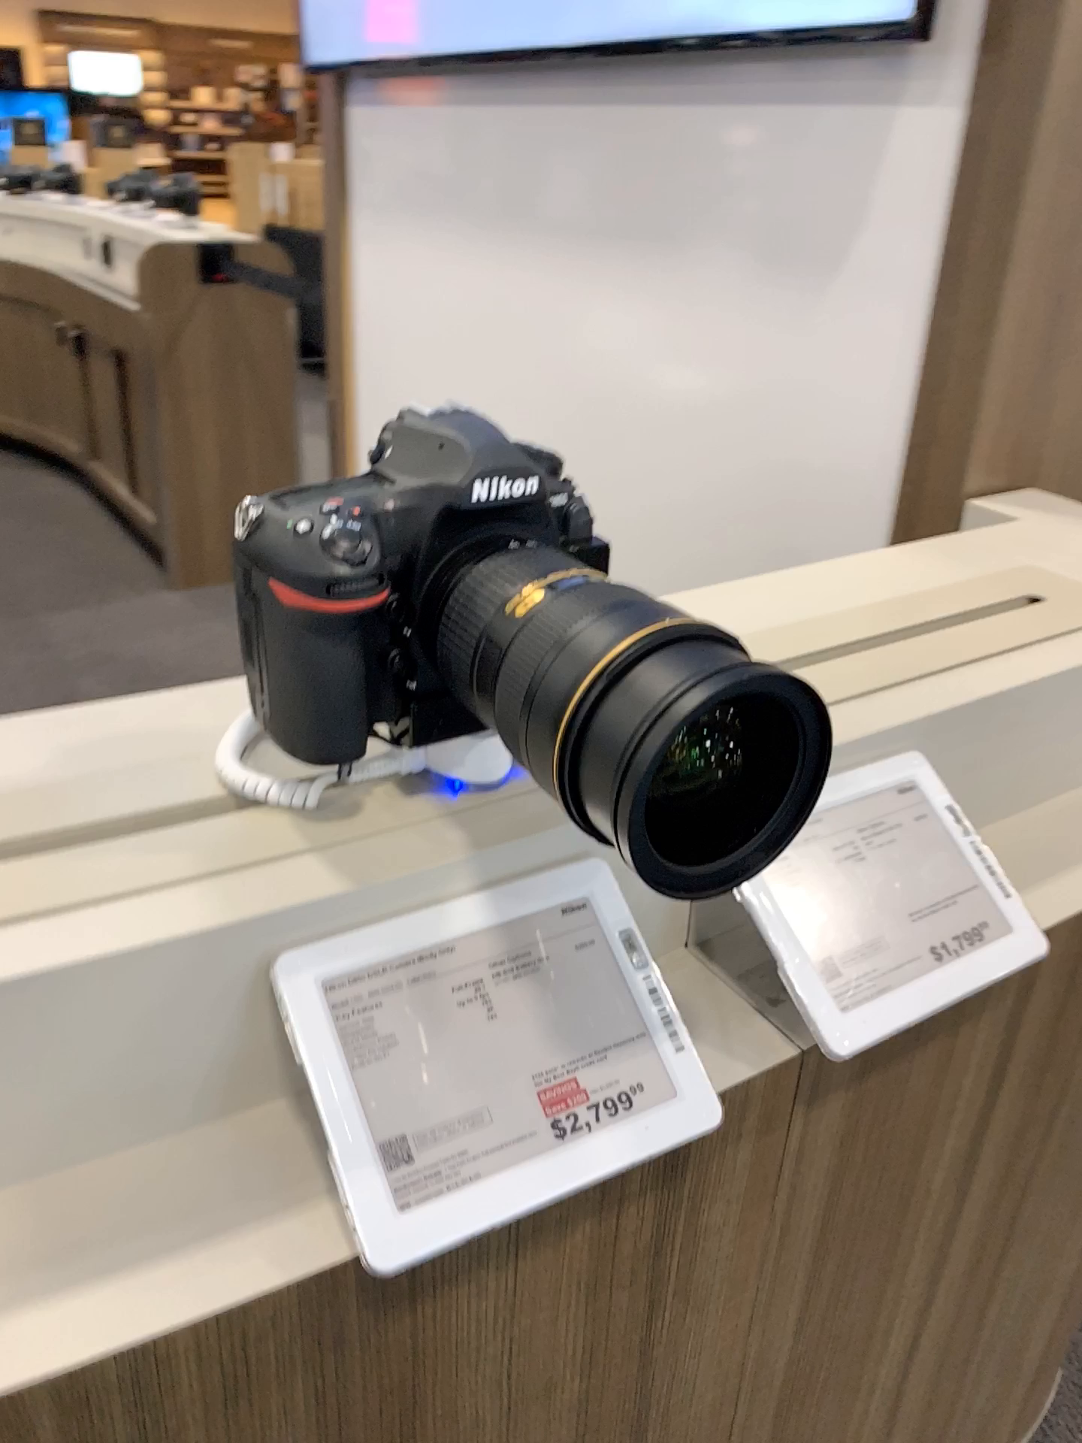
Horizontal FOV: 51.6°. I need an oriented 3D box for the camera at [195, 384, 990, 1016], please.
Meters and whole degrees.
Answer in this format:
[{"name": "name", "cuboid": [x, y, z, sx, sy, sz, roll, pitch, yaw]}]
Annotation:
[{"name": "camera", "cuboid": [-0.003, -0.037, 0.401, 0.160, 0.109, 0.241, -14, 32, -29]}]
